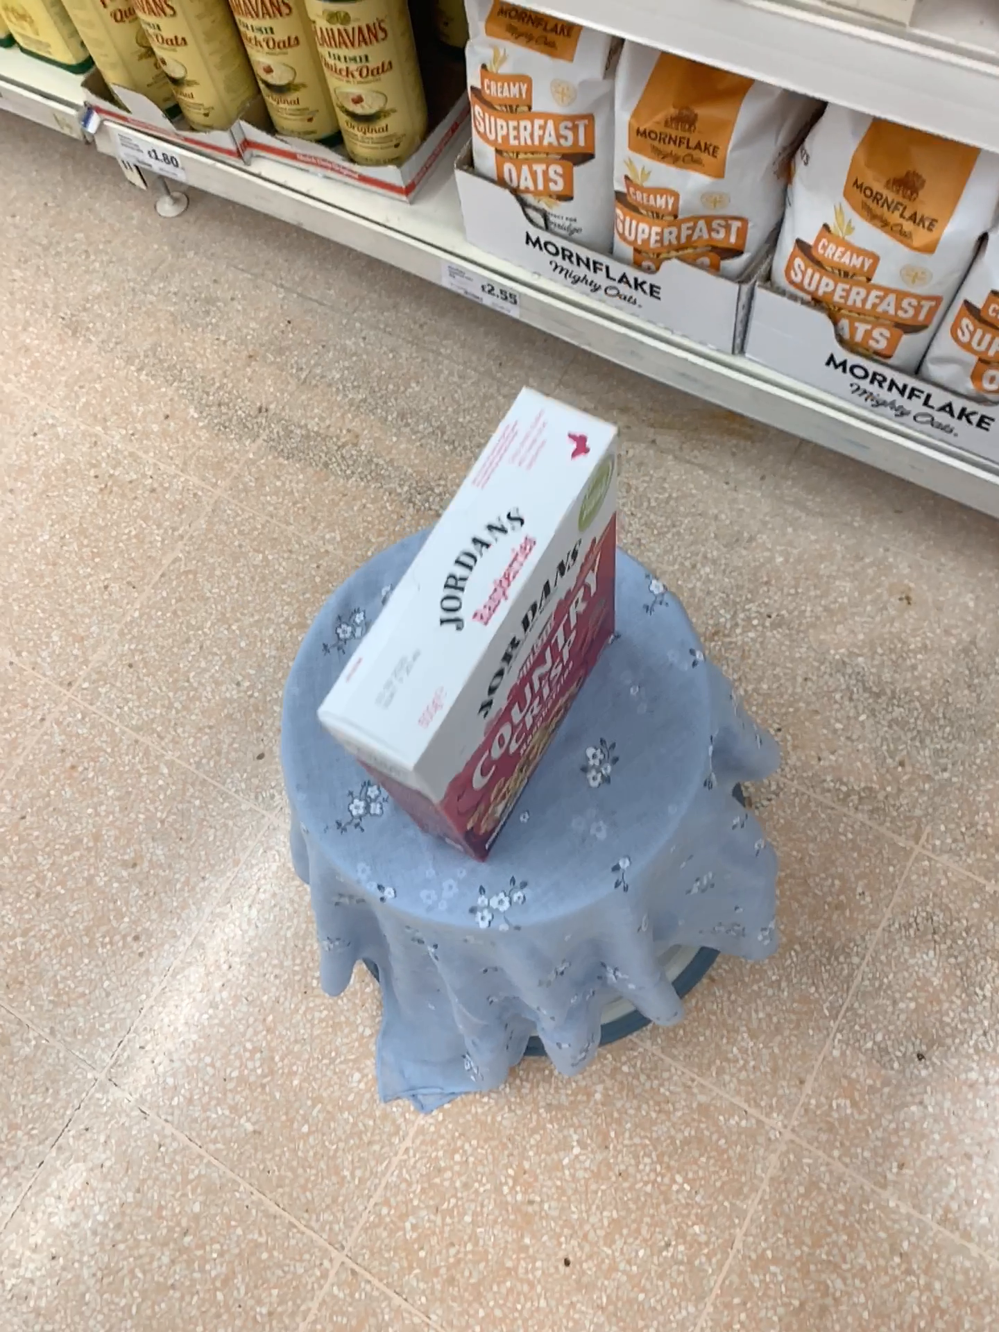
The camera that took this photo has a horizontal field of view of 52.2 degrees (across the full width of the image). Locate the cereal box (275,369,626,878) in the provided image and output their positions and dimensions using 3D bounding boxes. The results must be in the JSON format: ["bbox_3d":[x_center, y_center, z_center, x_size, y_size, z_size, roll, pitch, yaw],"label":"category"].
[{"bbox_3d":[-0.010,-0.001,0.581,0.060,0.269,0.201,29,75,13],"label":"cereal box"}]
